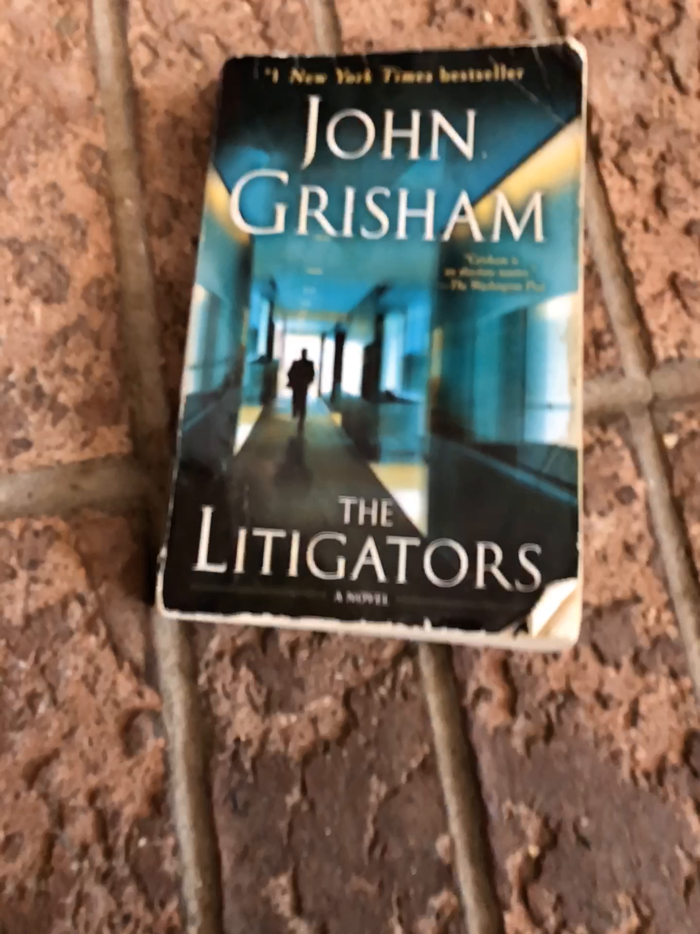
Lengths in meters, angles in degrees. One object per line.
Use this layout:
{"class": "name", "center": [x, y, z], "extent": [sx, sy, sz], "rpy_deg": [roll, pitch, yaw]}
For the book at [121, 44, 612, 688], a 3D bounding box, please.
{"class": "book", "center": [0.010, -0.039, 0.258], "extent": [0.135, 0.033, 0.199], "rpy_deg": [4, 80, 7]}
